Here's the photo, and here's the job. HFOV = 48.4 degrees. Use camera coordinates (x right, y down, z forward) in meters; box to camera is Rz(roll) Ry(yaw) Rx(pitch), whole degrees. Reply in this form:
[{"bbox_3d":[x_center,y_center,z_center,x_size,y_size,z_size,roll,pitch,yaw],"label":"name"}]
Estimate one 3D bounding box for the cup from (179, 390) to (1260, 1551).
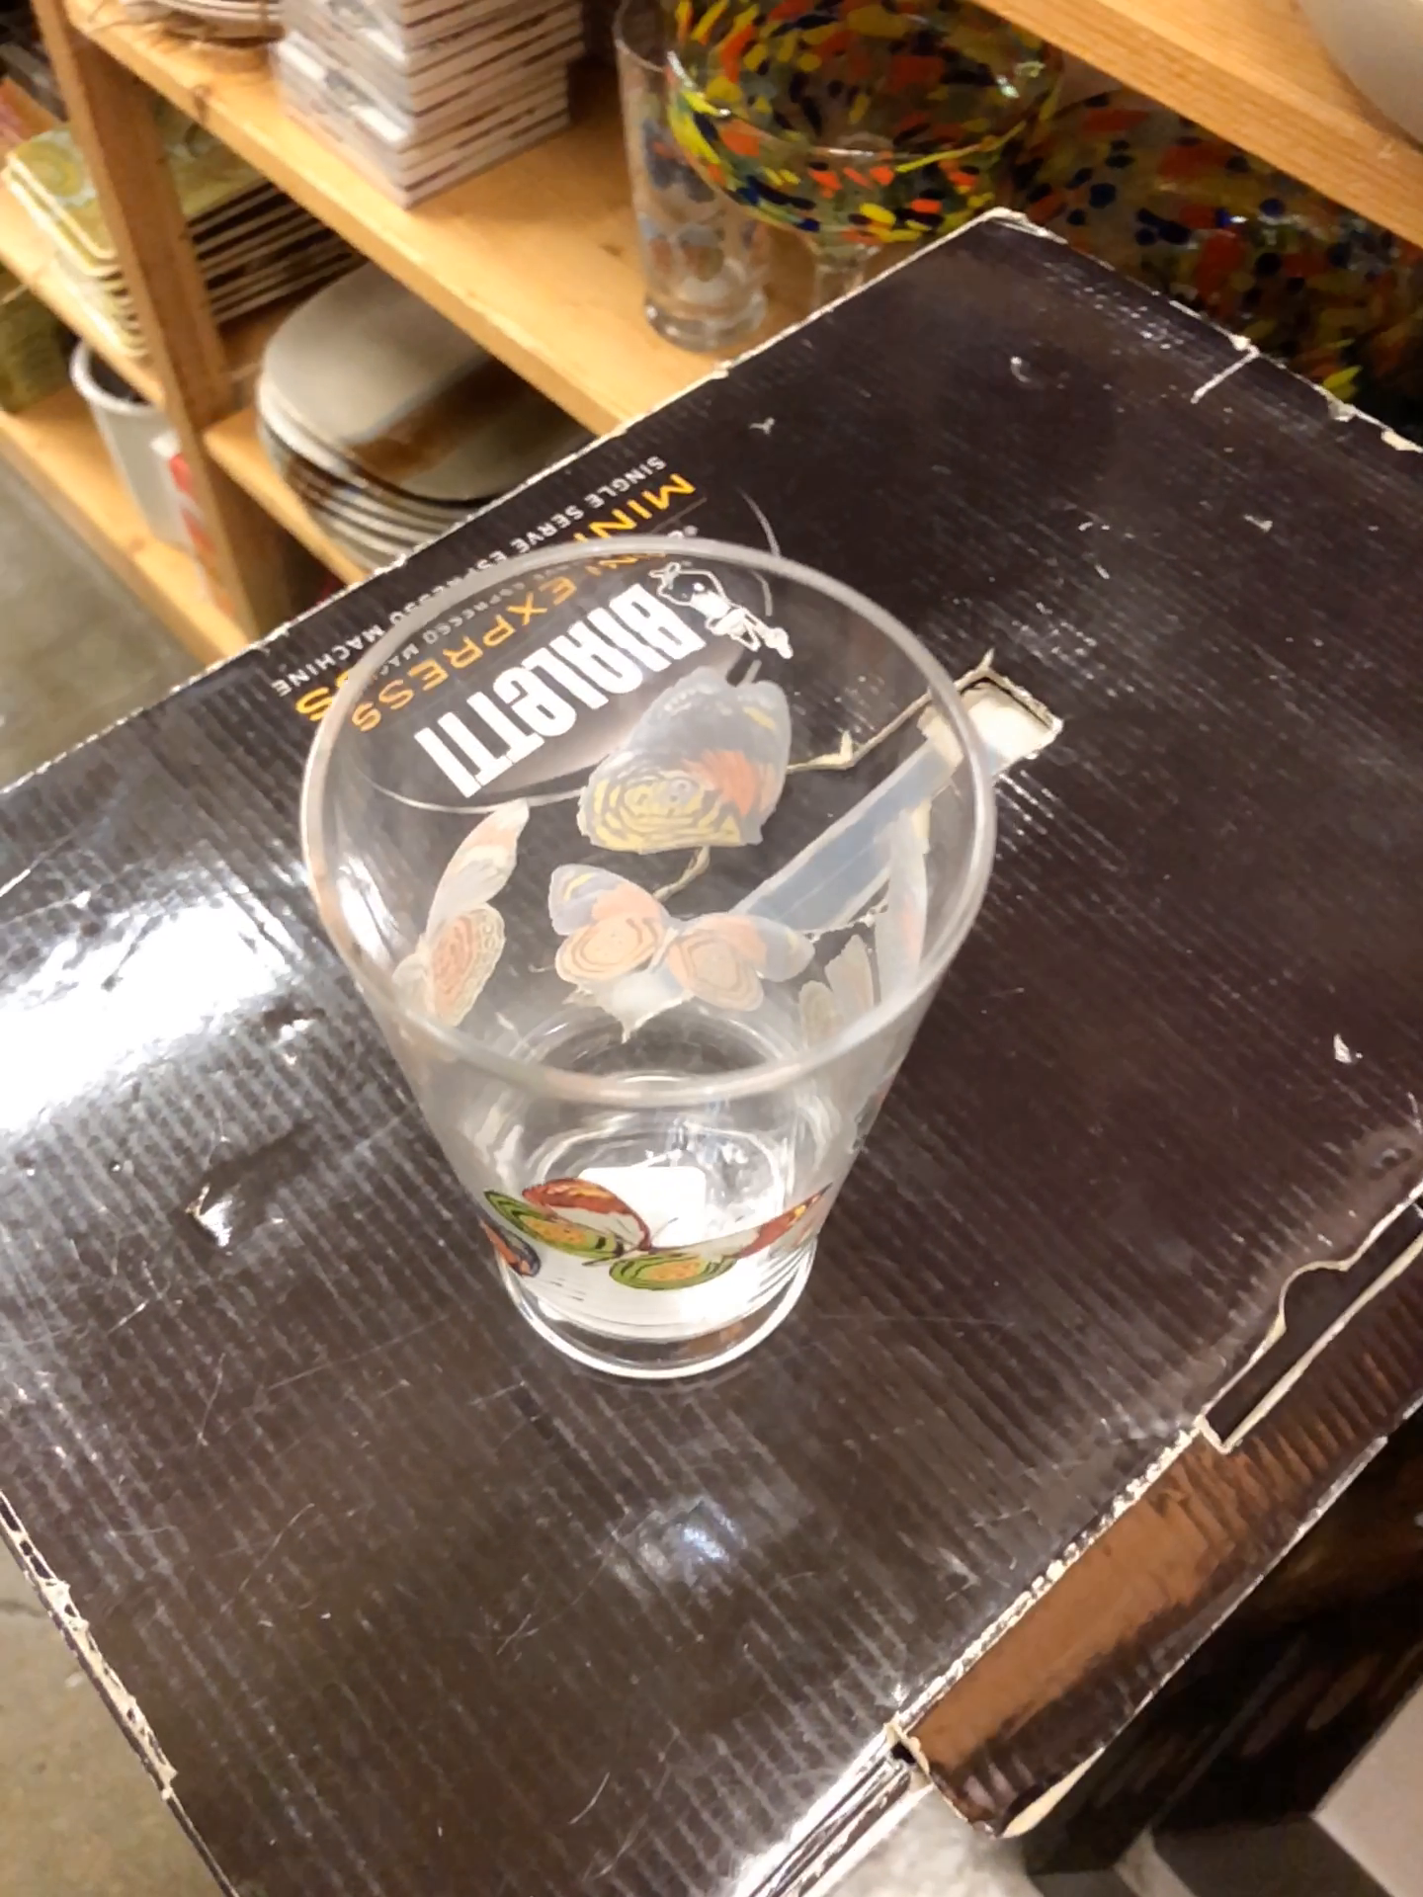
[{"bbox_3d":[0.000,0.012,0.212,0.079,0.125,0.075,0,59,-1],"label":"cup"}]
